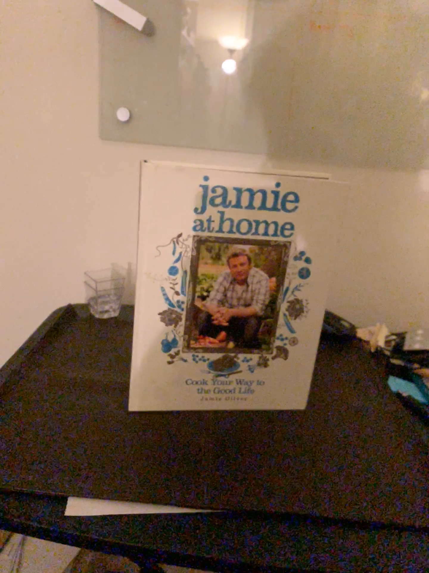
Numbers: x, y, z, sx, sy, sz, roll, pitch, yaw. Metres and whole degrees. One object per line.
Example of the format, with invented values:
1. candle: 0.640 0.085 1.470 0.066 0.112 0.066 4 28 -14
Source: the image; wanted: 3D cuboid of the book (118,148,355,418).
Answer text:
1. book: 0.011 0.007 0.465 0.210 0.269 0.050 2 20 -9
